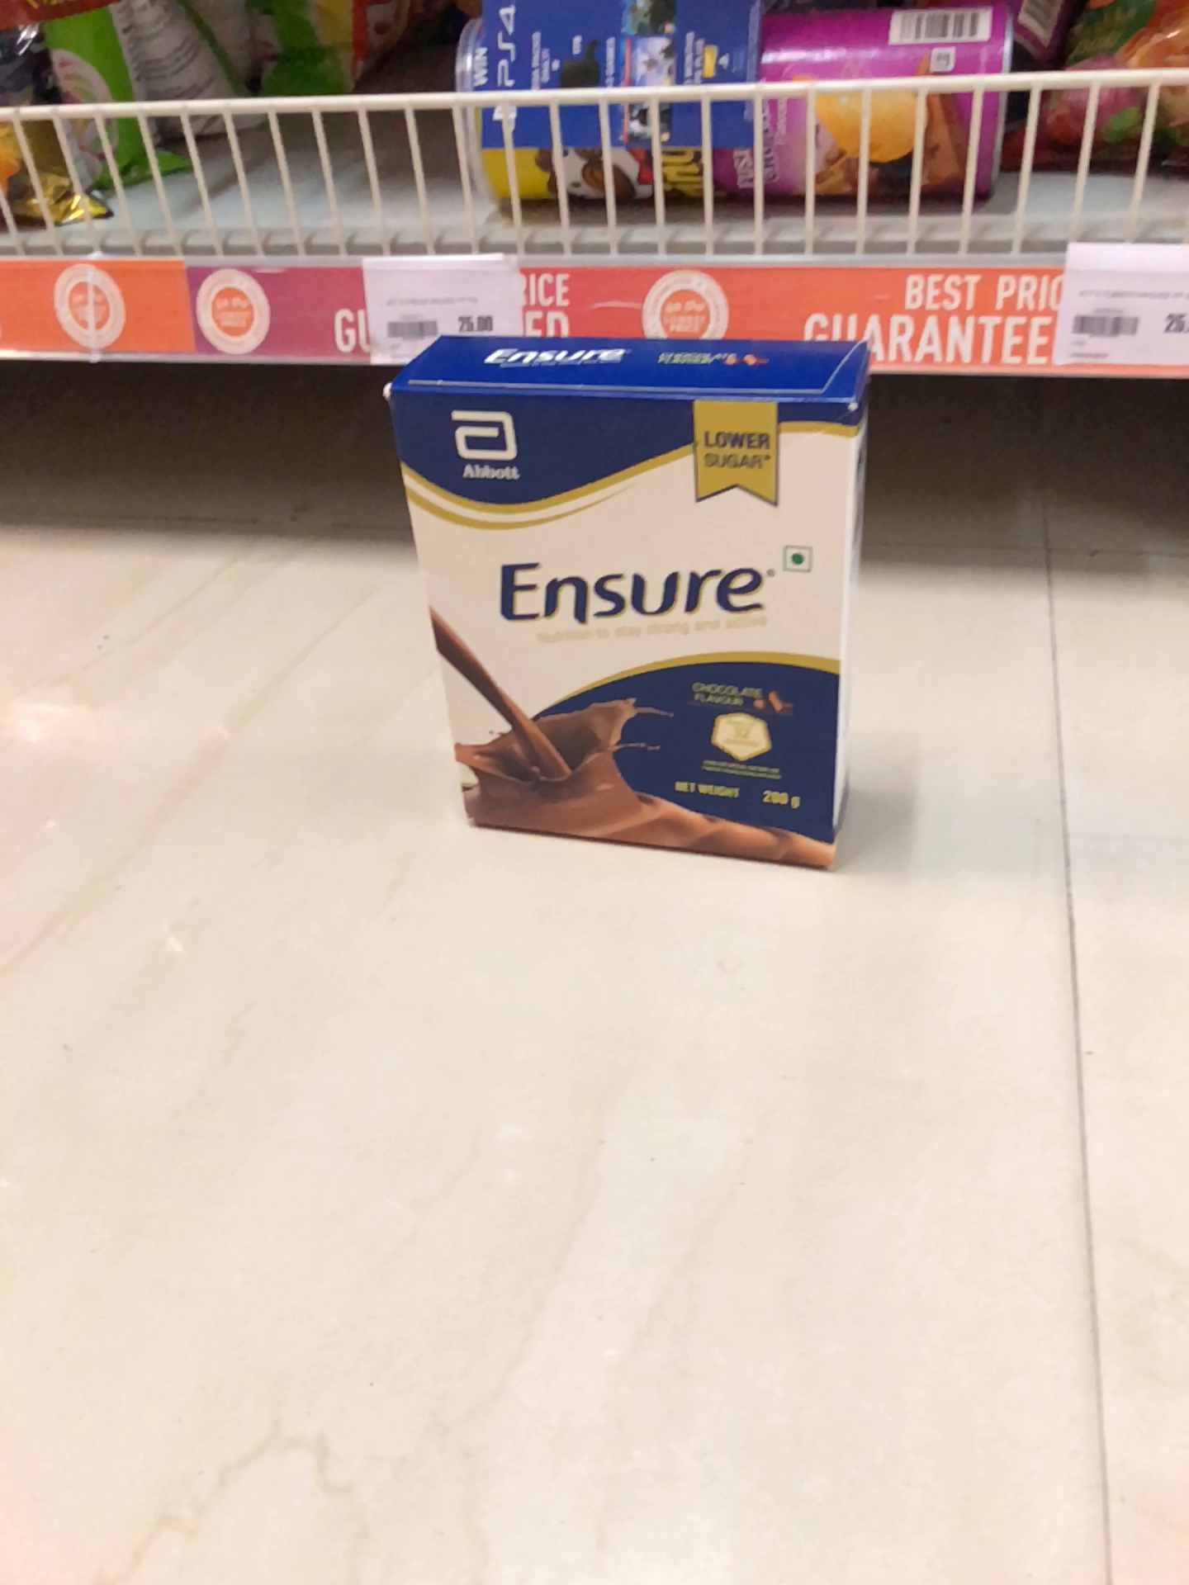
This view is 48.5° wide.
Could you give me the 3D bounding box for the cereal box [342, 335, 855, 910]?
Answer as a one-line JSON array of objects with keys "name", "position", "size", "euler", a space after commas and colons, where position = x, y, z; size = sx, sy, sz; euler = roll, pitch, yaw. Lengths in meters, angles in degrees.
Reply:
[{"name": "cereal box", "position": [0.009, -0.052, 0.436], "size": [0.140, 0.179, 0.050], "euler": [6, 41, 15]}]
